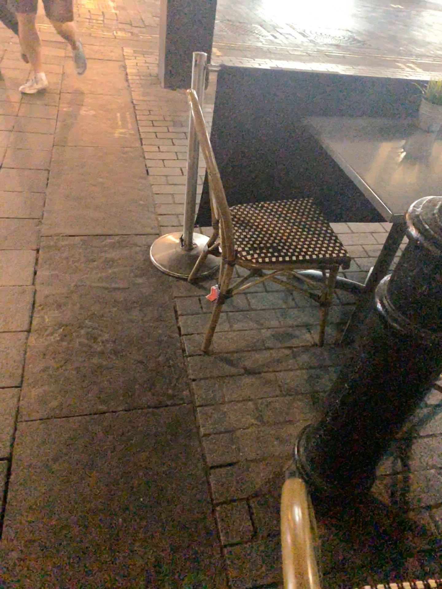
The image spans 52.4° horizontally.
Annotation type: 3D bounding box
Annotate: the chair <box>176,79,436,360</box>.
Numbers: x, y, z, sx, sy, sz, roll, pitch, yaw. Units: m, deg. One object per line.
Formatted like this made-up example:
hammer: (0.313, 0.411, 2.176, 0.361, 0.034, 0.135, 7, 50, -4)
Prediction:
chair: (0.195, -0.244, 1.603, 0.600, 0.792, 0.515, -2, 42, -14)
